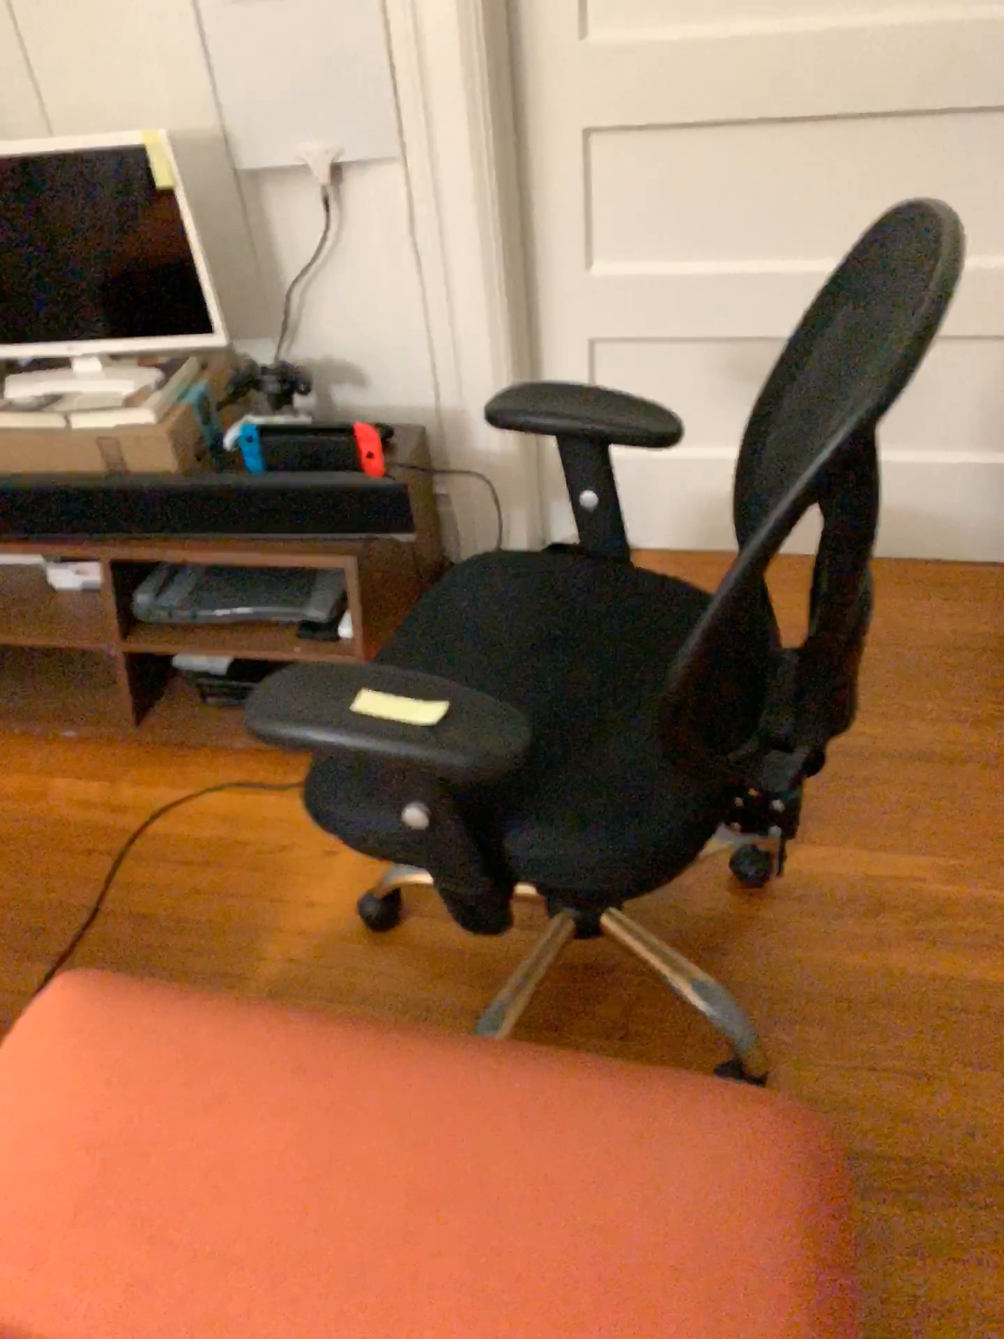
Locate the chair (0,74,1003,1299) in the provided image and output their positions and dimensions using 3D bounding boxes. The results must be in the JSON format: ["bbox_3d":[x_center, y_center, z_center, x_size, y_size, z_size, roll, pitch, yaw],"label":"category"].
[{"bbox_3d":[0.111,0.017,1.068,0.662,0.974,0.642,16,44,18],"label":"chair"}]
